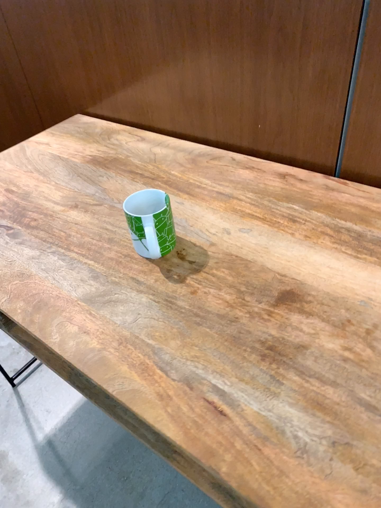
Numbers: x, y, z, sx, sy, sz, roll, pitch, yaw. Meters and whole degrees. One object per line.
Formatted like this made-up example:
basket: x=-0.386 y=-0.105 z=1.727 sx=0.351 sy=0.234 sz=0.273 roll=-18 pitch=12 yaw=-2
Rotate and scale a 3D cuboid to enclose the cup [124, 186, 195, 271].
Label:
cup: x=-0.052 y=-0.045 z=0.650 sx=0.100 sy=0.070 sz=0.121 roll=-8 pitch=41 yaw=0
